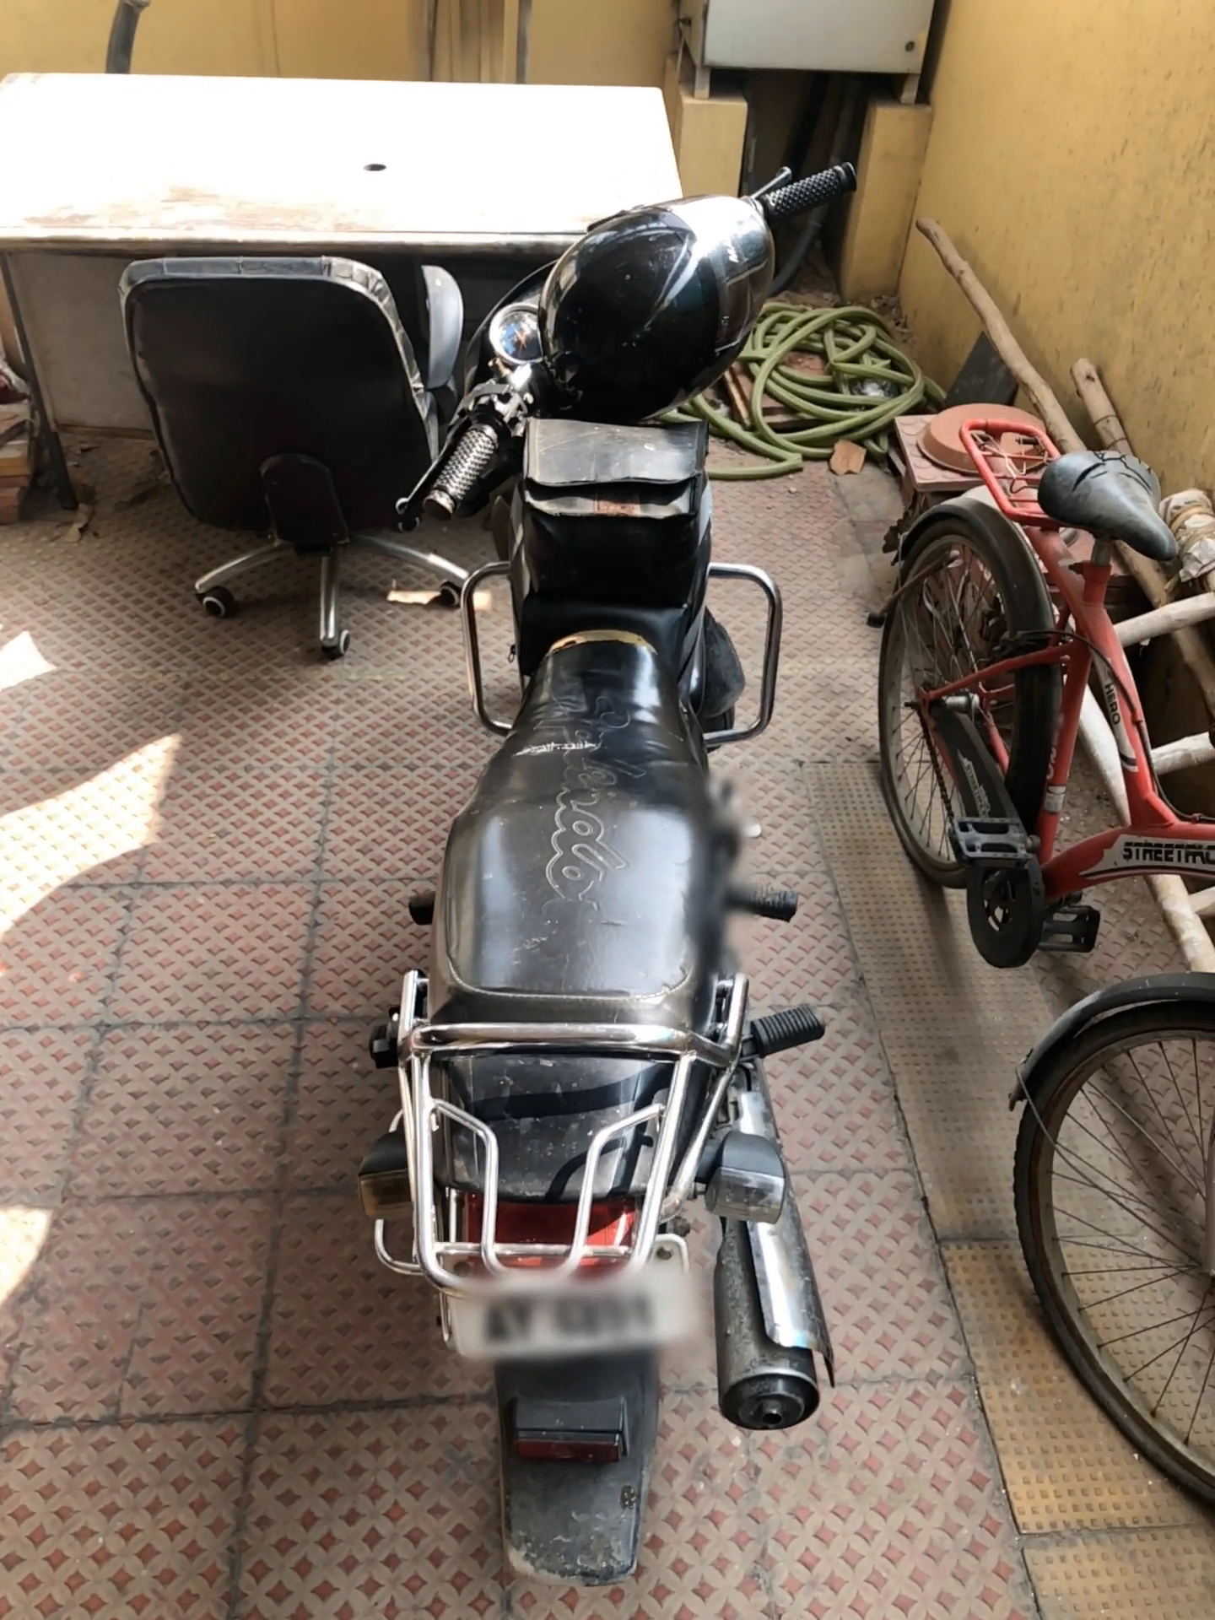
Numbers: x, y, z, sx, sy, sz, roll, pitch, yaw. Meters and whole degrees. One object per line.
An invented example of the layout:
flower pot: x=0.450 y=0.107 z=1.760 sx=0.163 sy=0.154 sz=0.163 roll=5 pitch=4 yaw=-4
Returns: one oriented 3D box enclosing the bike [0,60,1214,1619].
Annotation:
bike: x=-0.163 y=-0.100 z=1.618 sx=0.713 sy=1.028 sz=1.623 roll=-2 pitch=43 yaw=-6
